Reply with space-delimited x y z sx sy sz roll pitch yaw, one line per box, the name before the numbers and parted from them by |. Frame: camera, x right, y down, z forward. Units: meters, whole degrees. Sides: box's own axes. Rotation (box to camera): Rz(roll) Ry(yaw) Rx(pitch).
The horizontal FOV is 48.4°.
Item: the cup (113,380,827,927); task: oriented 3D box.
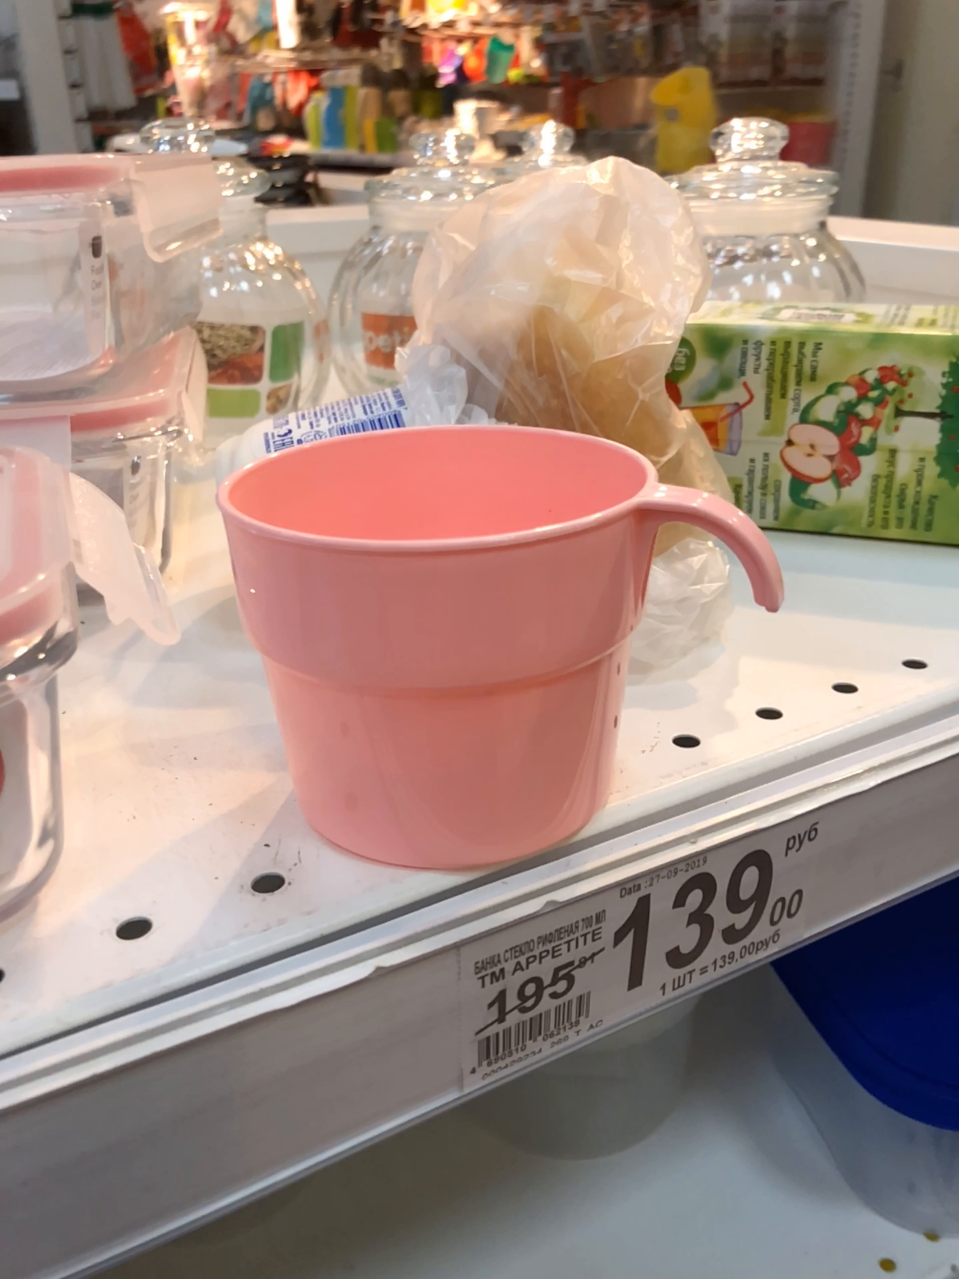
cup | 0.005 -0.006 0.209 0.110 0.070 0.081 5 24 14
